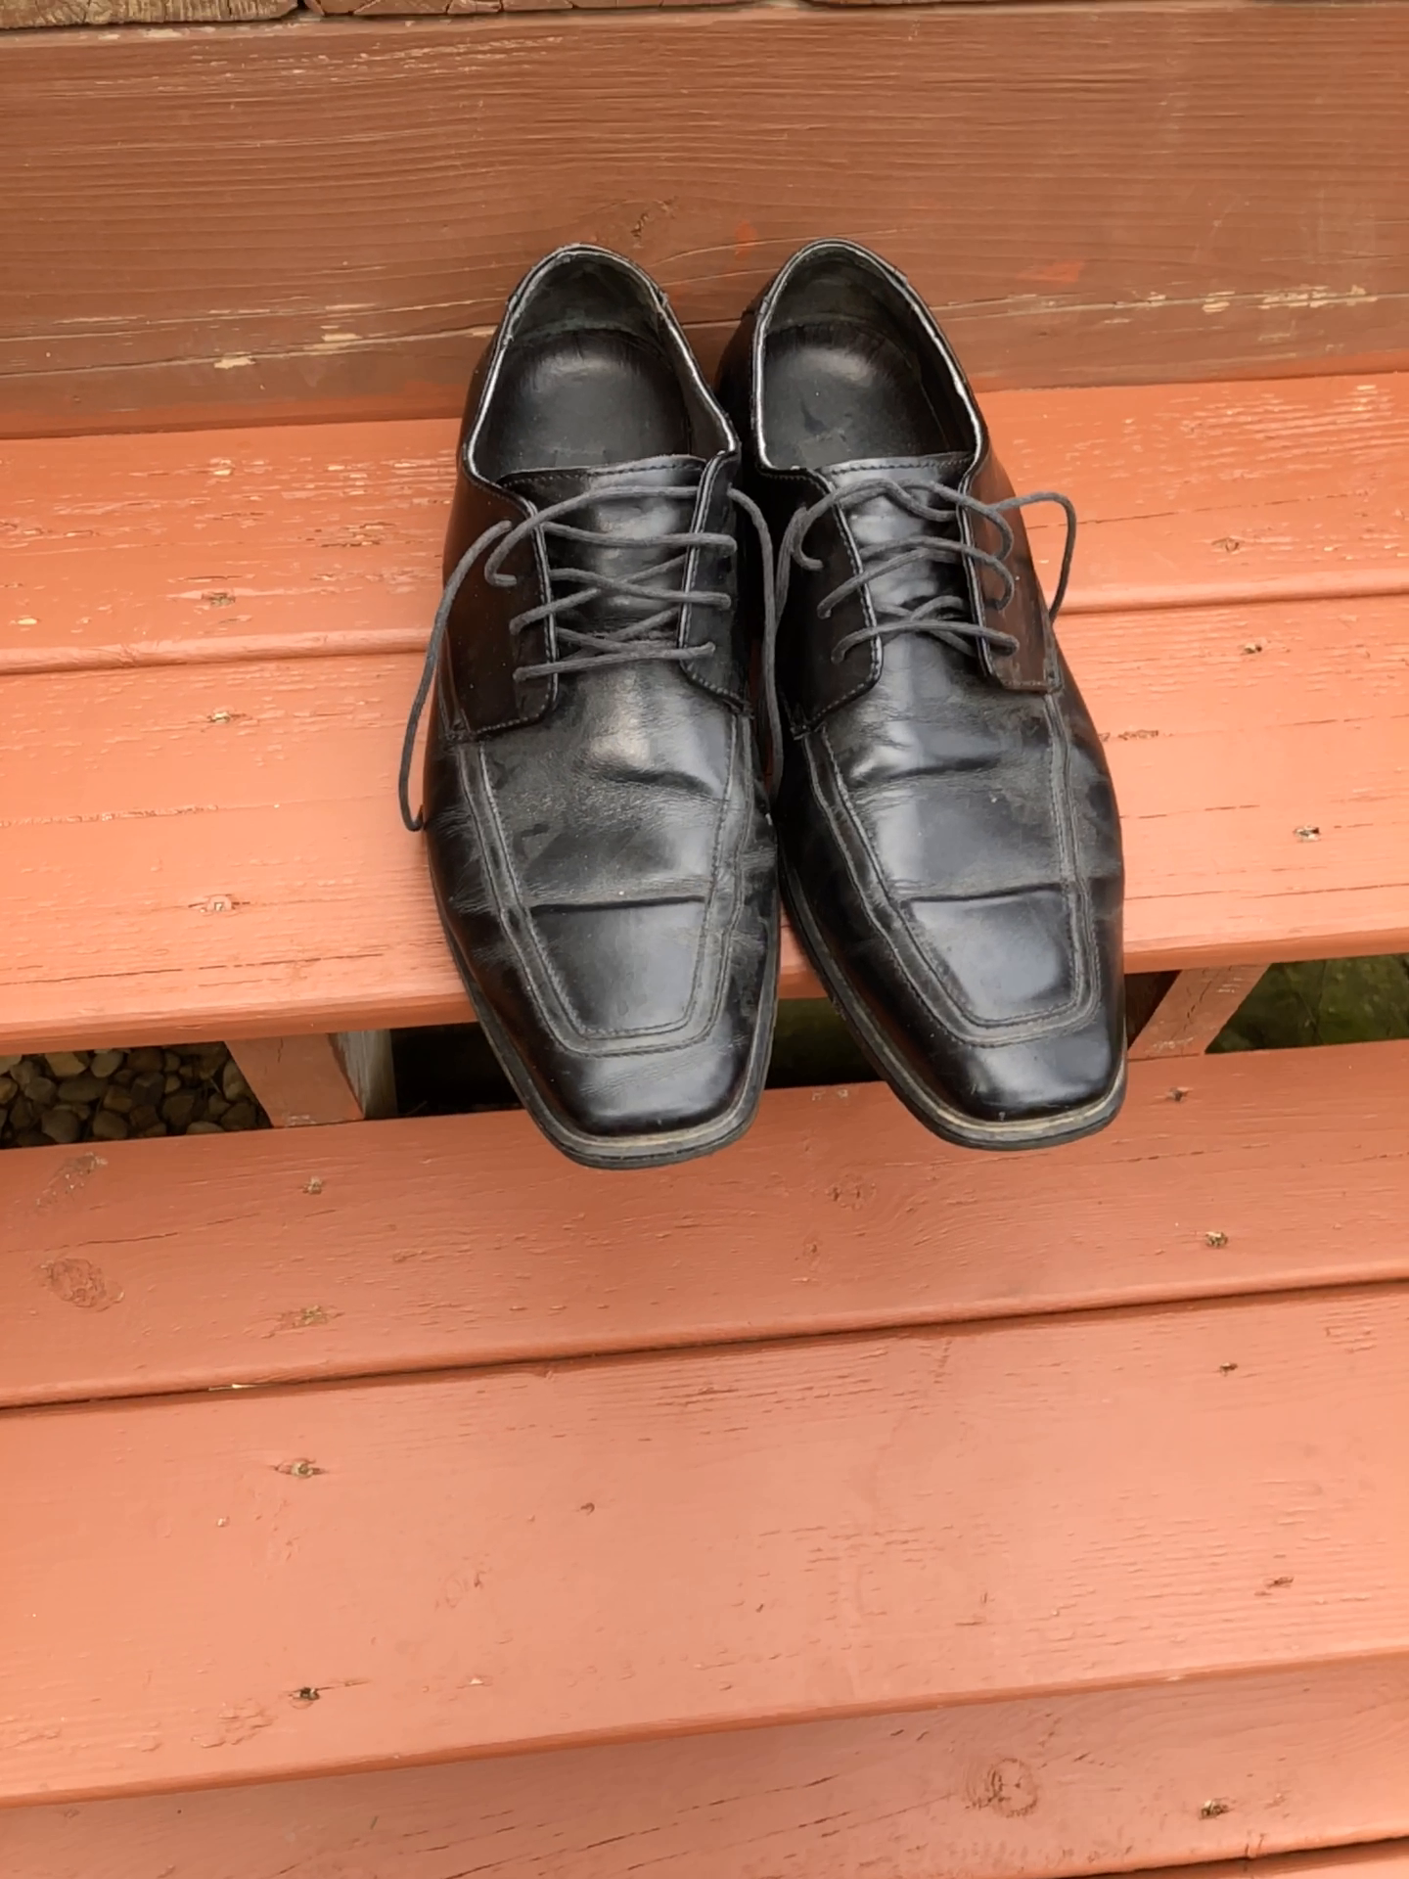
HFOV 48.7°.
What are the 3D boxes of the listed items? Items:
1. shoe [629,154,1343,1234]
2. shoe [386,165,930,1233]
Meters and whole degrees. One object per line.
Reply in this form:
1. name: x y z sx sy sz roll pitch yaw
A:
1. shoe: 0.065 -0.090 0.502 0.130 0.110 0.330 -8 63 -6
2. shoe: -0.027 -0.088 0.501 0.130 0.110 0.330 -4 63 -4
